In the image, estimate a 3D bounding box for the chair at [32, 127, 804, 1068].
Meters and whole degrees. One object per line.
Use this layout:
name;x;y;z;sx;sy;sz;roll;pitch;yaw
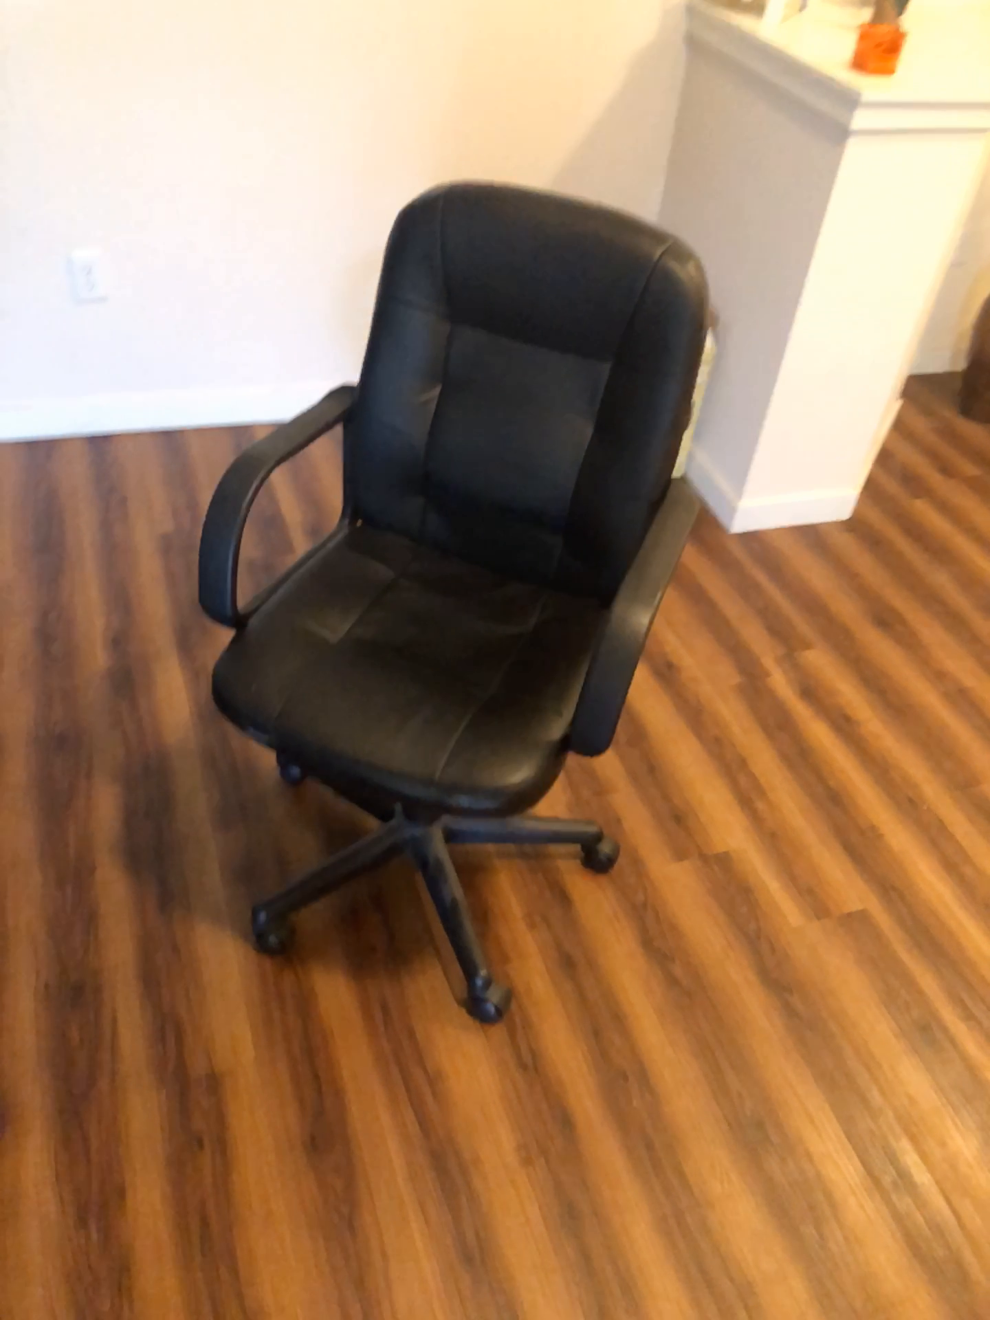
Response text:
chair;-0.079;-0.085;1.573;0.662;1.012;0.670;19;42;13
